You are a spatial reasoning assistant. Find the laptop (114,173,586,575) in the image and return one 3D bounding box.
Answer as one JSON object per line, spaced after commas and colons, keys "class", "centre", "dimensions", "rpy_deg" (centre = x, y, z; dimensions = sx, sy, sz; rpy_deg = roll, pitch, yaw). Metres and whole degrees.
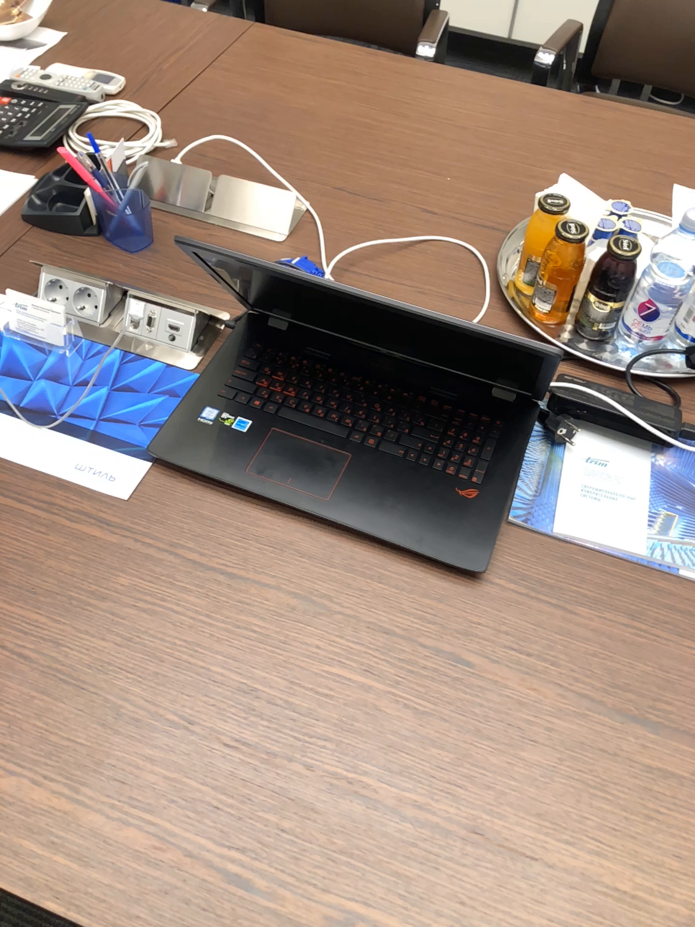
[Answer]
{"class": "laptop", "centre": [0.007, -0.099, 0.778], "dimensions": [0.376, 0.189, 0.238], "rpy_deg": [19, 55, 11]}
